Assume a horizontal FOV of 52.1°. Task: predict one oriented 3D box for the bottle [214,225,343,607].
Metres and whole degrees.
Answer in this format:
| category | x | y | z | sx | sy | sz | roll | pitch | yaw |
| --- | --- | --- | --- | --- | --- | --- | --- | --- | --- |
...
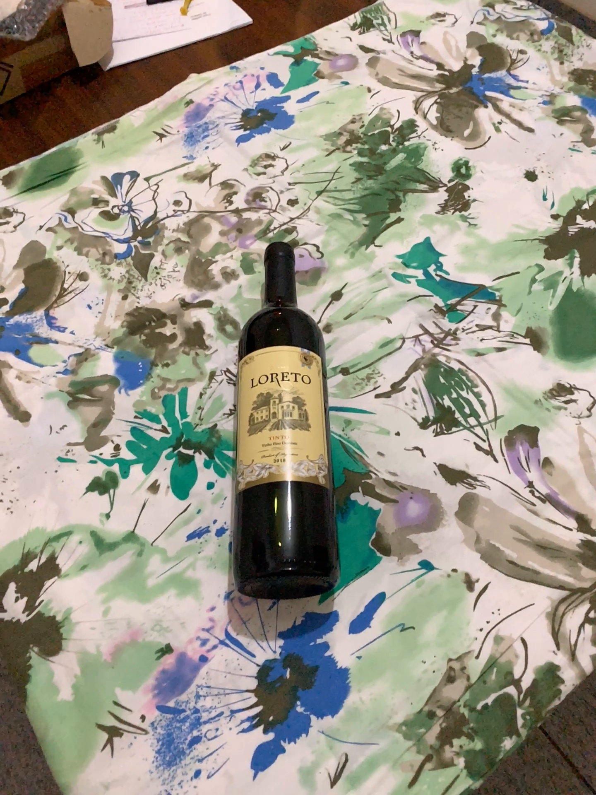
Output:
| category | x | y | z | sx | sy | sz | roll | pitch | yaw |
| --- | --- | --- | --- | --- | --- | --- | --- | --- | --- |
| bottle | -0.017 | -0.004 | 0.478 | 0.080 | 0.050 | 0.311 | -2 | 60 | -1 |
